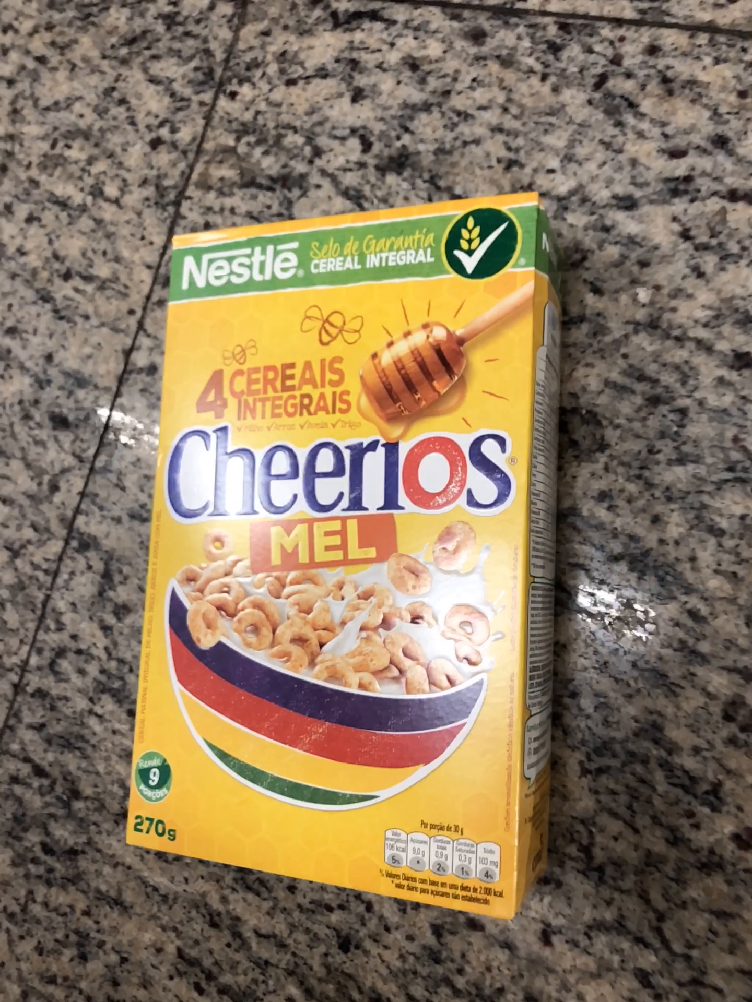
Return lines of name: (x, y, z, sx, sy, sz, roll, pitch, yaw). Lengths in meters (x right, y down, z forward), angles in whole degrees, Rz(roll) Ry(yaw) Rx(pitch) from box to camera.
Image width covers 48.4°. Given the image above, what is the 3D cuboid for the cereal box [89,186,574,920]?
cereal box: (-0.014, 0.014, 0.332, 0.170, 0.060, 0.240, 0, 82, 21)
